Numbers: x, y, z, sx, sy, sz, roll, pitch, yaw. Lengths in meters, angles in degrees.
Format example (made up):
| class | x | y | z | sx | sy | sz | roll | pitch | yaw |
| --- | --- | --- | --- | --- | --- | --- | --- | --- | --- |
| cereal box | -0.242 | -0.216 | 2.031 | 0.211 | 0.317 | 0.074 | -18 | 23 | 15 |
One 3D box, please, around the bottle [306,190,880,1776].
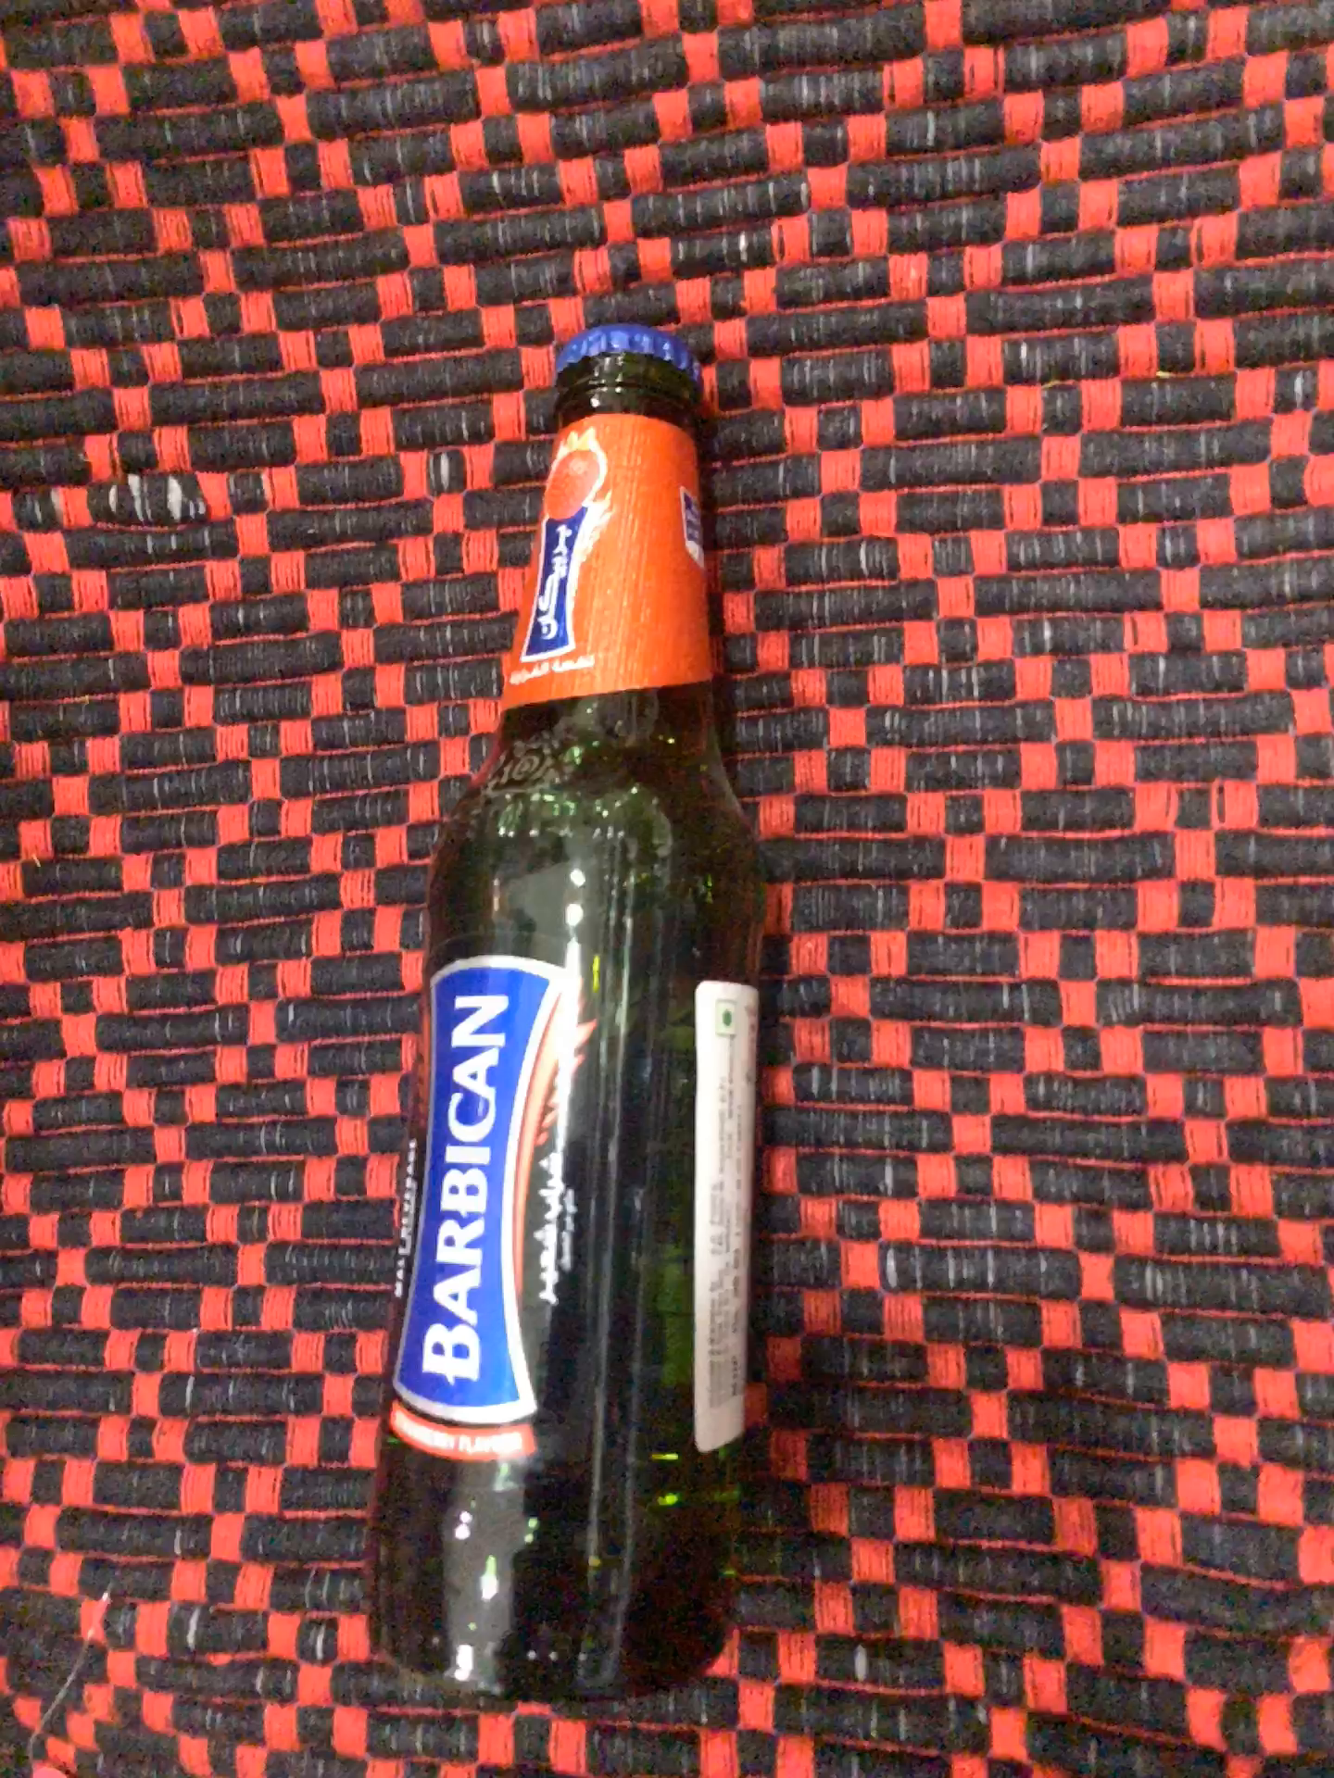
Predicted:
| class | x | y | z | sx | sy | sz | roll | pitch | yaw |
| --- | --- | --- | --- | --- | --- | --- | --- | --- | --- |
| bottle | -0.006 | 0.009 | 0.232 | 0.060 | 0.070 | 0.220 | -5 | 77 | 29 |
